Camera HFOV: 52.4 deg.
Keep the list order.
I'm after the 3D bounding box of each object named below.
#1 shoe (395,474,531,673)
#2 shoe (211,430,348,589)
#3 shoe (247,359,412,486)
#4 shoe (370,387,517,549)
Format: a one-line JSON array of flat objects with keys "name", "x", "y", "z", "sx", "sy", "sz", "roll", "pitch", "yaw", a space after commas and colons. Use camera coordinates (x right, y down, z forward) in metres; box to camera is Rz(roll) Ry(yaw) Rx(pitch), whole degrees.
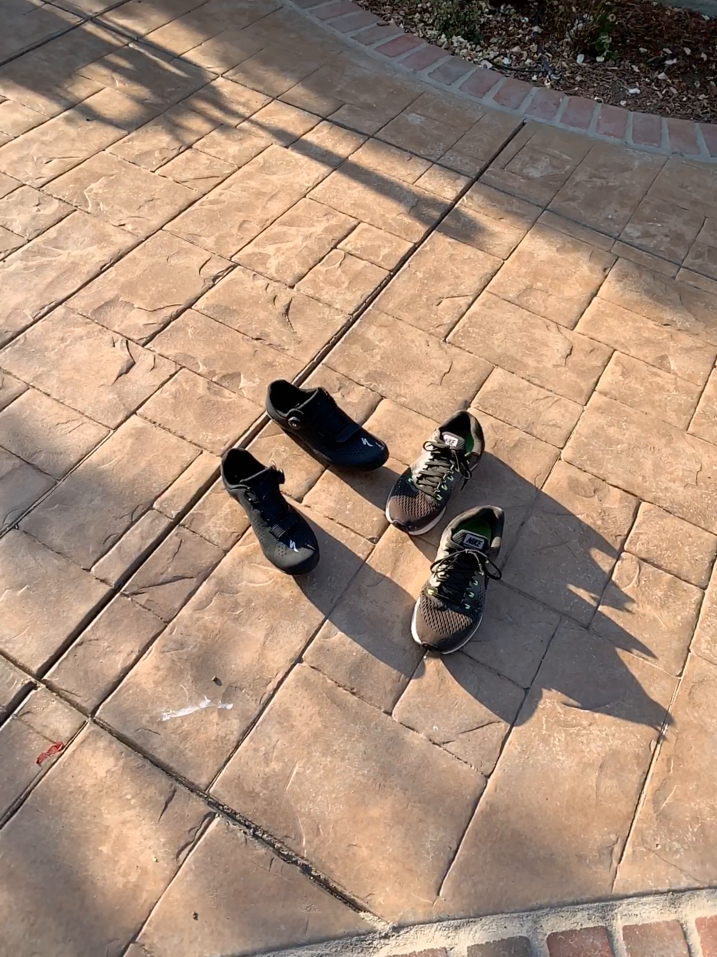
[{"name": "shoe", "x": 0.179, "y": 0.153, "z": 1.229, "sx": 0.130, "sy": 0.110, "sz": 0.291, "roll": 21, "pitch": 53, "yaw": 9}, {"name": "shoe", "x": -0.140, "y": 0.046, "z": 1.259, "sx": 0.110, "sy": 0.050, "sz": 0.281, "roll": -24, "pitch": 59, "yaw": -23}, {"name": "shoe", "x": -0.056, "y": -0.110, "z": 1.370, "sx": 0.280, "sy": 0.050, "sz": 0.130, "roll": 29, "pitch": 55, "yaw": 15}, {"name": "shoe", "x": 0.160, "y": -0.027, "z": 1.349, "sx": 0.130, "sy": 0.090, "sz": 0.291, "roll": 31, "pitch": 55, "yaw": 16}]
